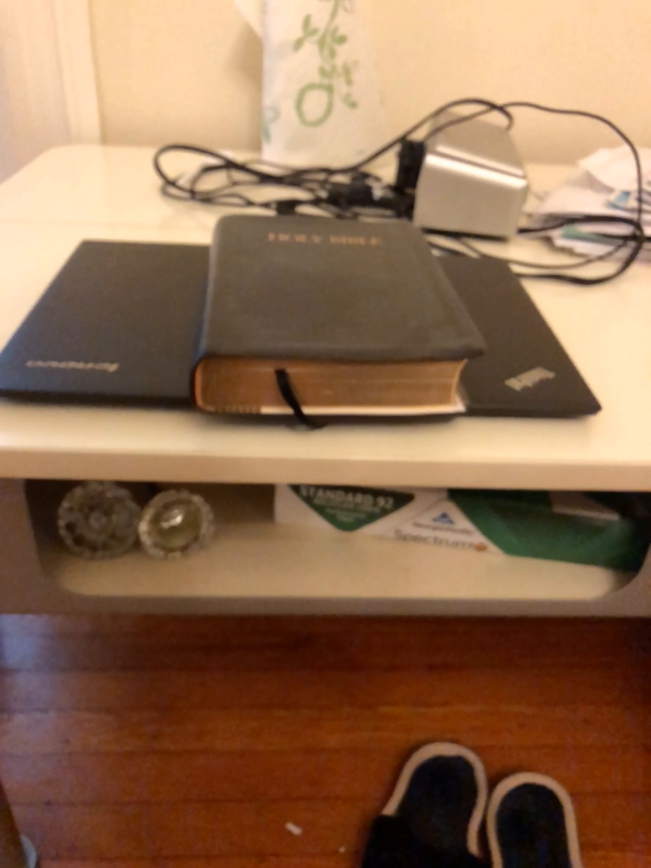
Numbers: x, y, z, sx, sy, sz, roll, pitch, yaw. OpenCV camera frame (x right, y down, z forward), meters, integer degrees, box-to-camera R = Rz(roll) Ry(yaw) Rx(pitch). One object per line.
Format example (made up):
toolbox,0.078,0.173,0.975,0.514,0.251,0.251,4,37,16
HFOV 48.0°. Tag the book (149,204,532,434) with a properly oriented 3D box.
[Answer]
book,-0.001,-0.082,0.436,0.170,0.040,0.241,0,32,-5
